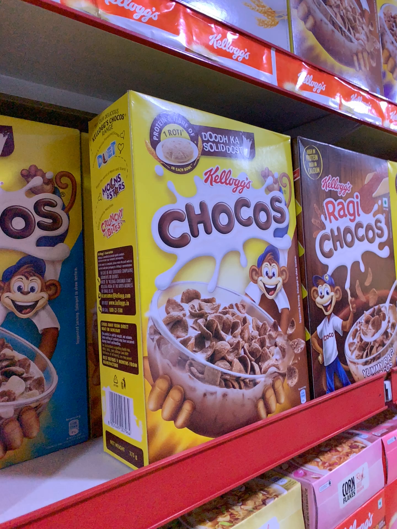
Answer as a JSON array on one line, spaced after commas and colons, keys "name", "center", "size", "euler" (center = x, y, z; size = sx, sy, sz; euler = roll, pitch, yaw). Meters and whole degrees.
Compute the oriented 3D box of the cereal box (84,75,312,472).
[{"name": "cereal box", "center": [0.007, 0.002, 0.326], "size": [0.170, 0.240, 0.060], "euler": [-1, -3, -40]}]
